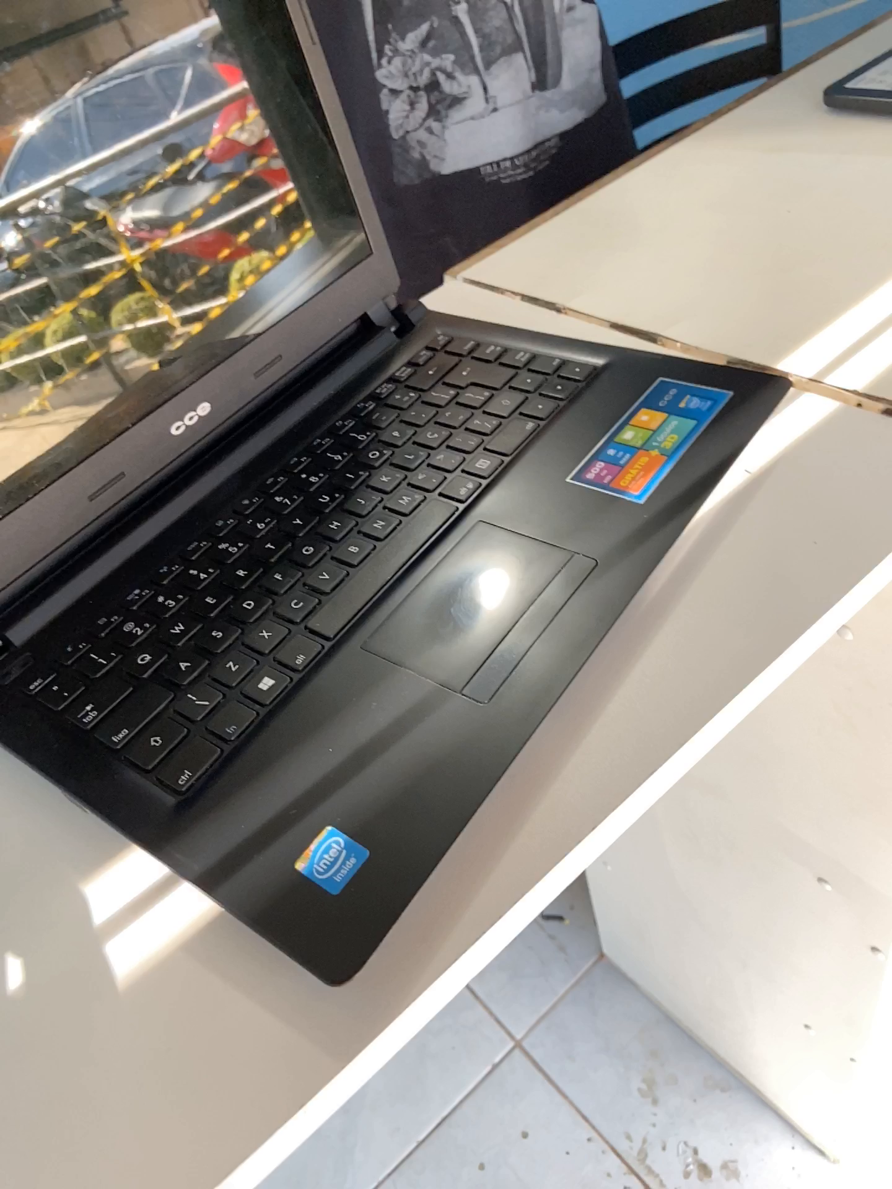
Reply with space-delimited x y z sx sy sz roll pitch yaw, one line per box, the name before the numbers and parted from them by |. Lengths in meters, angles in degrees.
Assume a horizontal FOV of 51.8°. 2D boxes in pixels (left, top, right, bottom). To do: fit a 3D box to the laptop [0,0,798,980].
laptop | -0.066 -0.118 0.341 0.267 0.216 0.324 21 54 33
